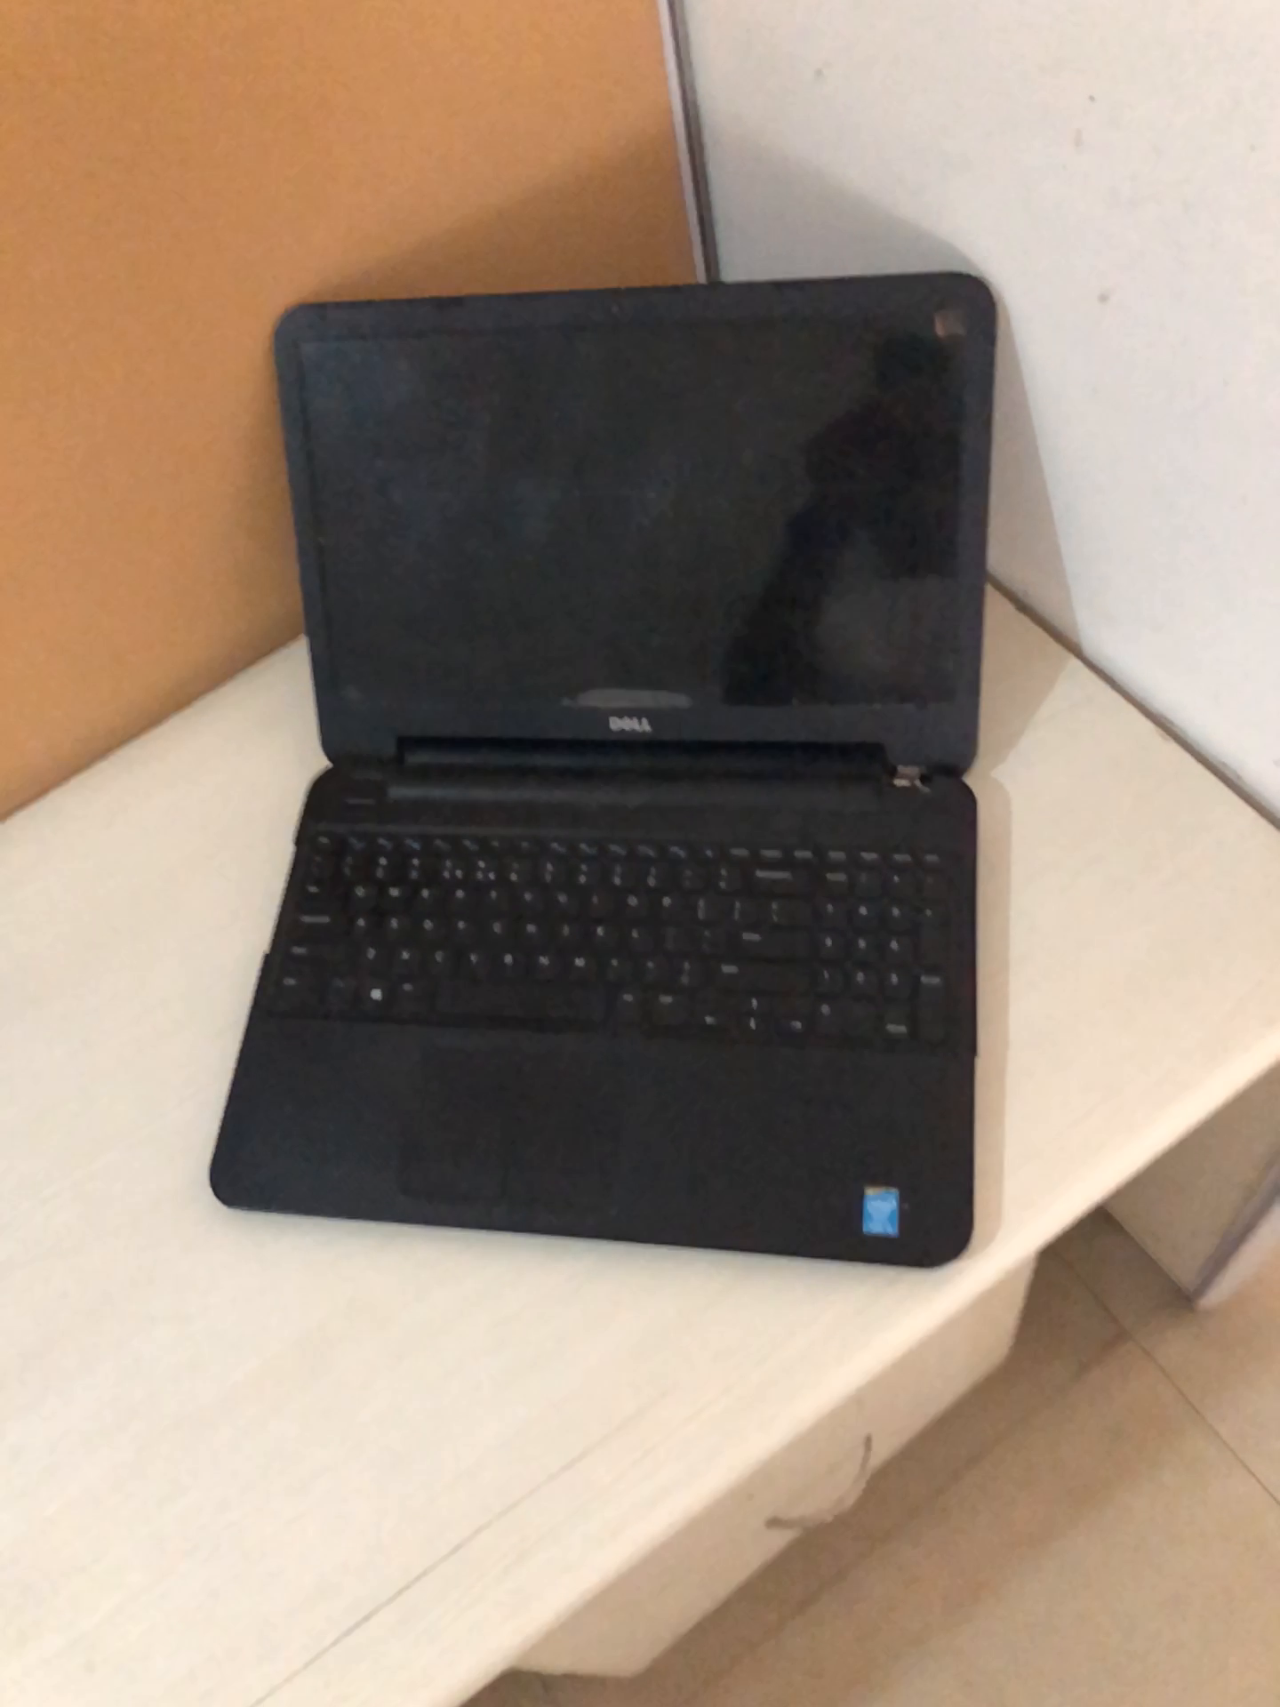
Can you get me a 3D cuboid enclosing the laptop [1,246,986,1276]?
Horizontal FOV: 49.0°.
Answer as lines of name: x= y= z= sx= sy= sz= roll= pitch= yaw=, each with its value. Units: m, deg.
laptop: x=-0.026 y=-0.057 z=0.654 sx=0.352 sy=0.175 sz=0.415 roll=2 pitch=62 yaw=12
